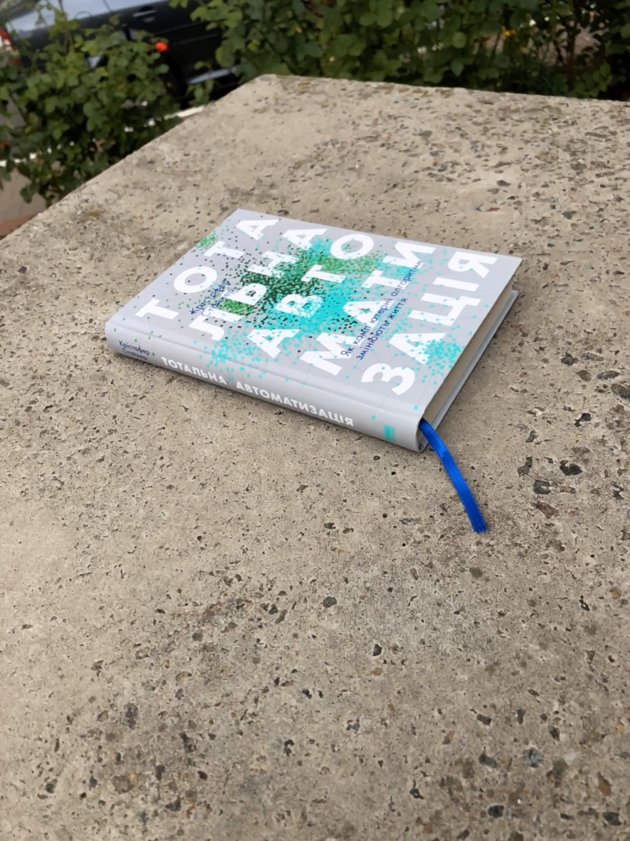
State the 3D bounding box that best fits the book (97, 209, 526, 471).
[{"bbox_3d":[-0.002,-0.066,0.437,0.221,0.030,0.151,18,52,26],"label":"book"}]
